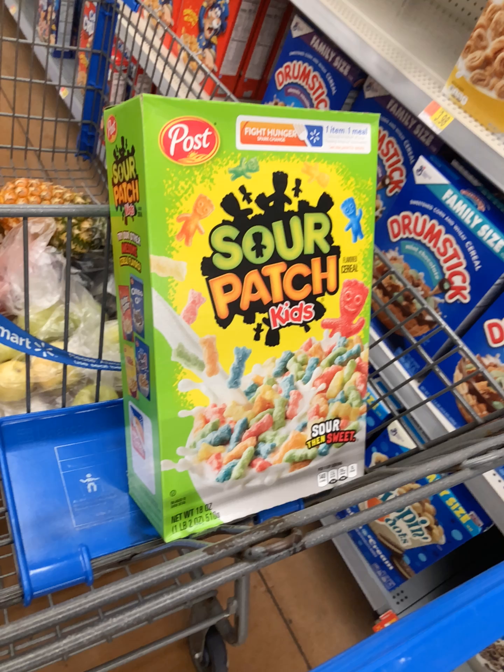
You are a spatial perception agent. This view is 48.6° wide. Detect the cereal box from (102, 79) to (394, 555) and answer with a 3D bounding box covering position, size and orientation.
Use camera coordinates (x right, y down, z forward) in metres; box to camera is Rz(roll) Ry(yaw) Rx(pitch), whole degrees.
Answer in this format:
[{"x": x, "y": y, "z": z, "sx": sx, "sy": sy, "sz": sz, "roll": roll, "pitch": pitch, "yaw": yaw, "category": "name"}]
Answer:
[{"x": 0.000, "y": -0.016, "z": 0.448, "sx": 0.200, "sy": 0.320, "sz": 0.080, "roll": -8, "pitch": 17, "yaw": -30, "category": "cereal box"}]
